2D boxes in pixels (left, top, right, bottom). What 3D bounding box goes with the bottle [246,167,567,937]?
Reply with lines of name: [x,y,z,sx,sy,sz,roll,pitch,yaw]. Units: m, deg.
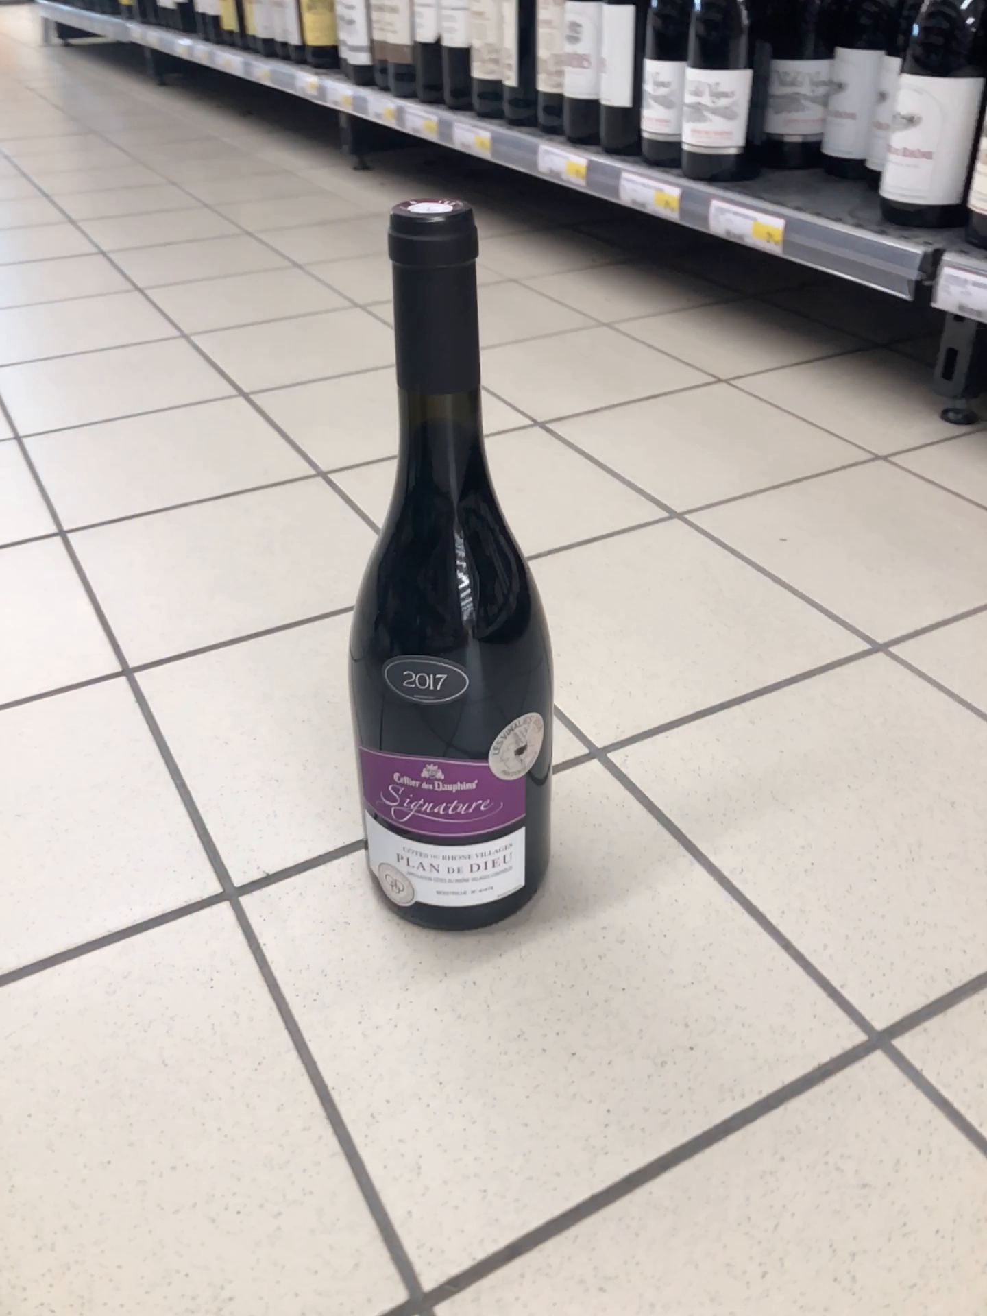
bottle: [-0.020,-0.028,0.424,0.090,0.288,0.091,-1,33,0]
